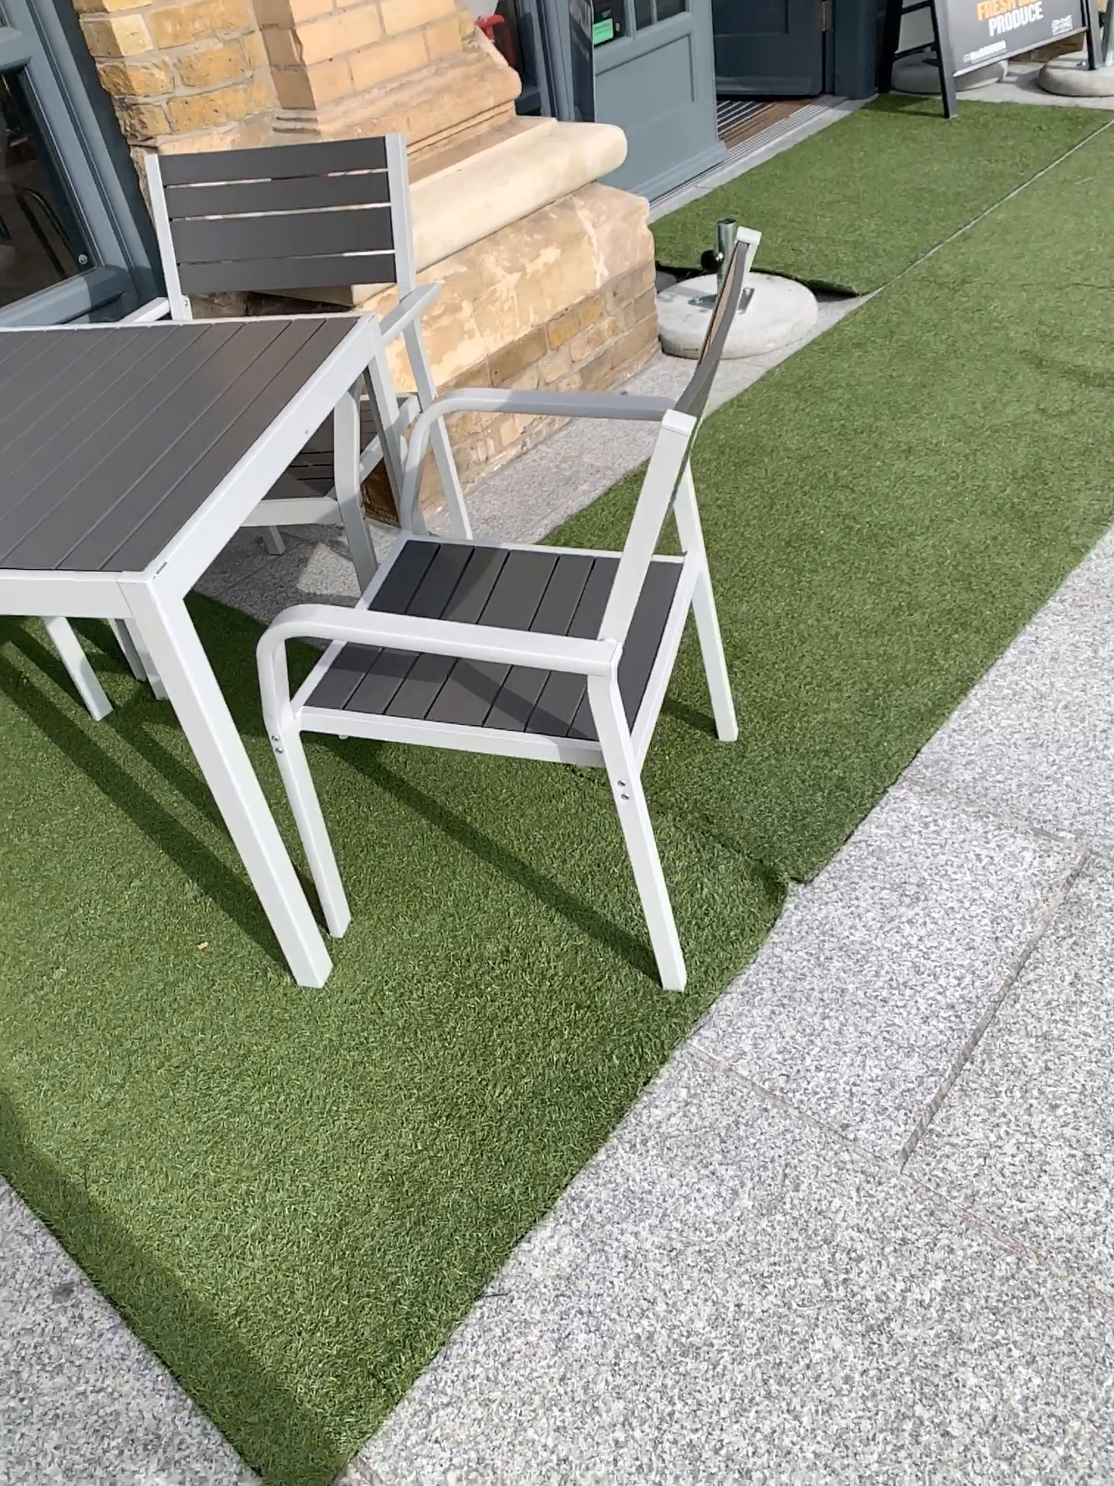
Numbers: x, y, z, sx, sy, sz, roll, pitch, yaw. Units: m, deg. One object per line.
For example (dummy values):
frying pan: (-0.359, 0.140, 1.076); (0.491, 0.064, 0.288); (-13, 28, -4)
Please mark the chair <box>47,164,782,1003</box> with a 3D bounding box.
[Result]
chair: (-0.050, -0.202, 1.507); (0.646, 0.802, 0.687); (1, 42, 14)
